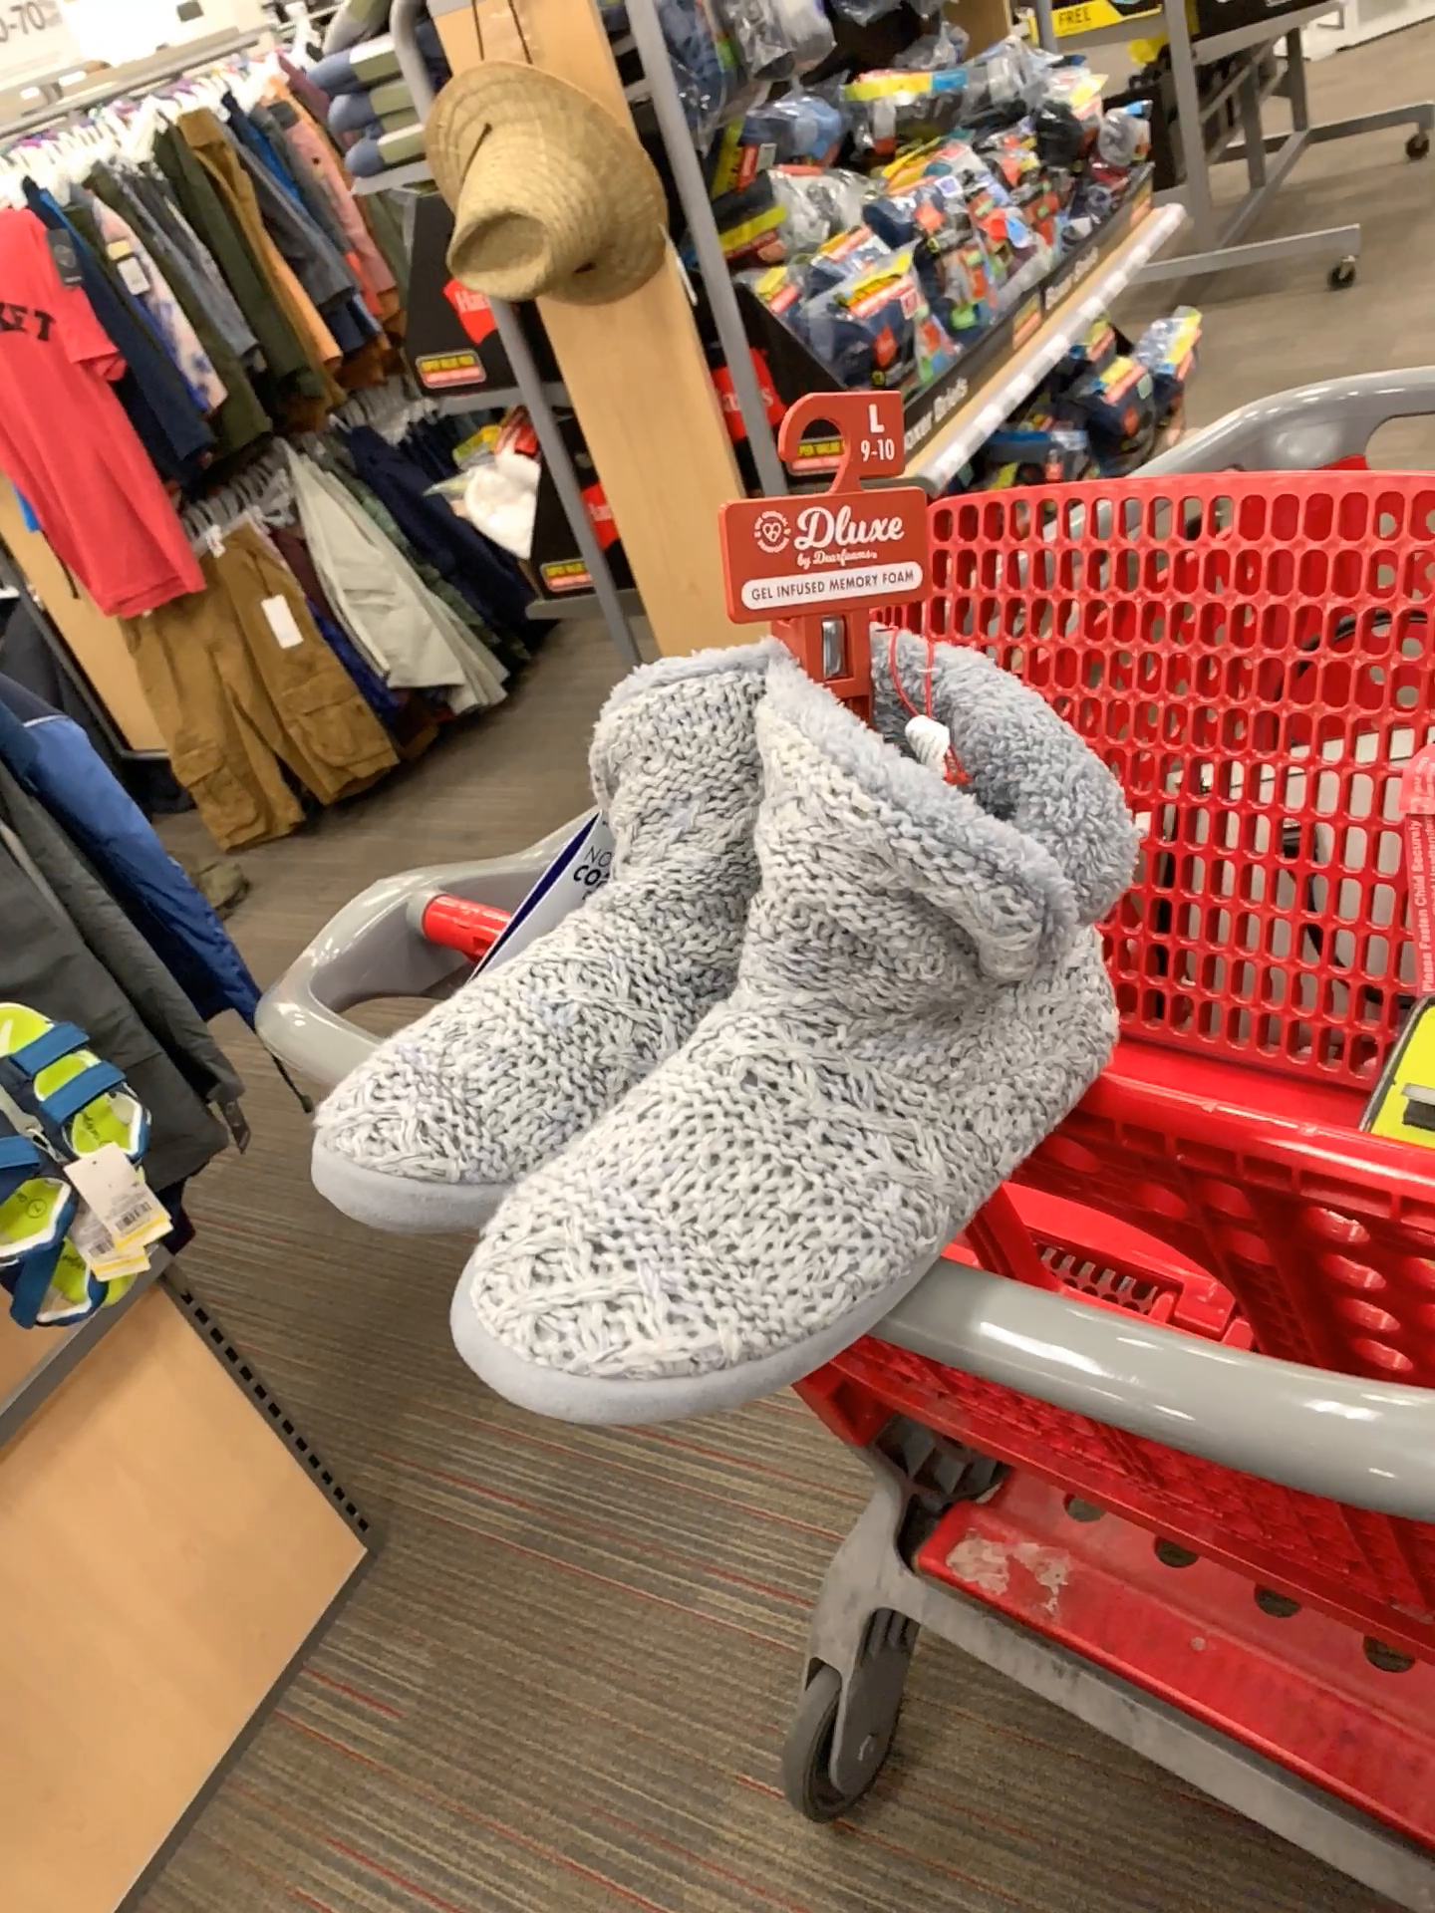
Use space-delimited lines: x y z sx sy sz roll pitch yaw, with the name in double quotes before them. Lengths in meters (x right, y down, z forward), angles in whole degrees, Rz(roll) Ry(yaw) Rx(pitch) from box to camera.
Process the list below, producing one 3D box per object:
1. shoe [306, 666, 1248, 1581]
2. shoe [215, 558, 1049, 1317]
"shoe" 0.031 0.026 0.410 0.230 0.119 0.111 -34 35 -28
"shoe" -0.015 -0.024 0.514 0.250 0.139 0.111 -34 34 -28
